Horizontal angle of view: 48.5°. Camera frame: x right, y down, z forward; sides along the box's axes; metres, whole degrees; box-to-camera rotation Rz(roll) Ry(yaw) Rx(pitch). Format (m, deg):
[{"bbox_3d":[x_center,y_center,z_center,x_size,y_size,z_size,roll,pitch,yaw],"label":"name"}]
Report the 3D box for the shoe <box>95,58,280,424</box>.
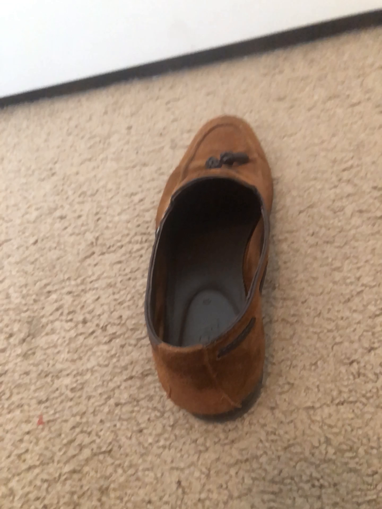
[{"bbox_3d":[0.015,-0.028,0.347,0.090,0.100,0.293,-6,52,14],"label":"shoe"}]
